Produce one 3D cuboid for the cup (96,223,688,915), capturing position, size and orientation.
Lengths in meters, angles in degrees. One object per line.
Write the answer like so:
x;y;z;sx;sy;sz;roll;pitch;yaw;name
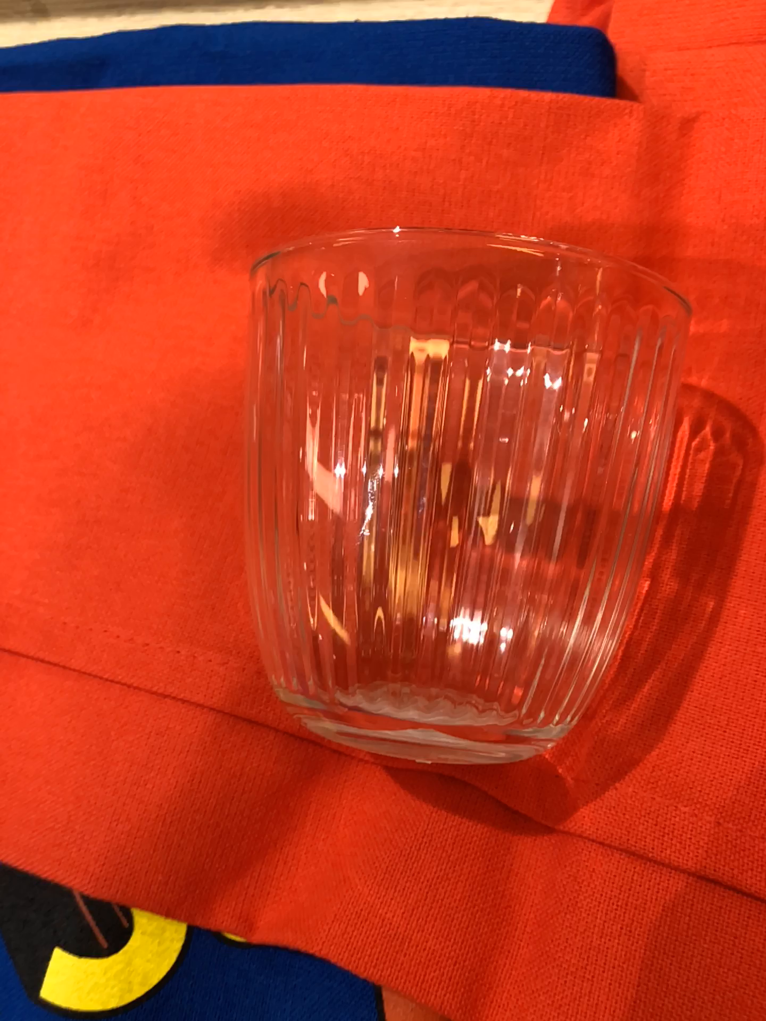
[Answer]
0.006;0.004;0.154;0.080;0.060;0.090;7;92;21;cup
